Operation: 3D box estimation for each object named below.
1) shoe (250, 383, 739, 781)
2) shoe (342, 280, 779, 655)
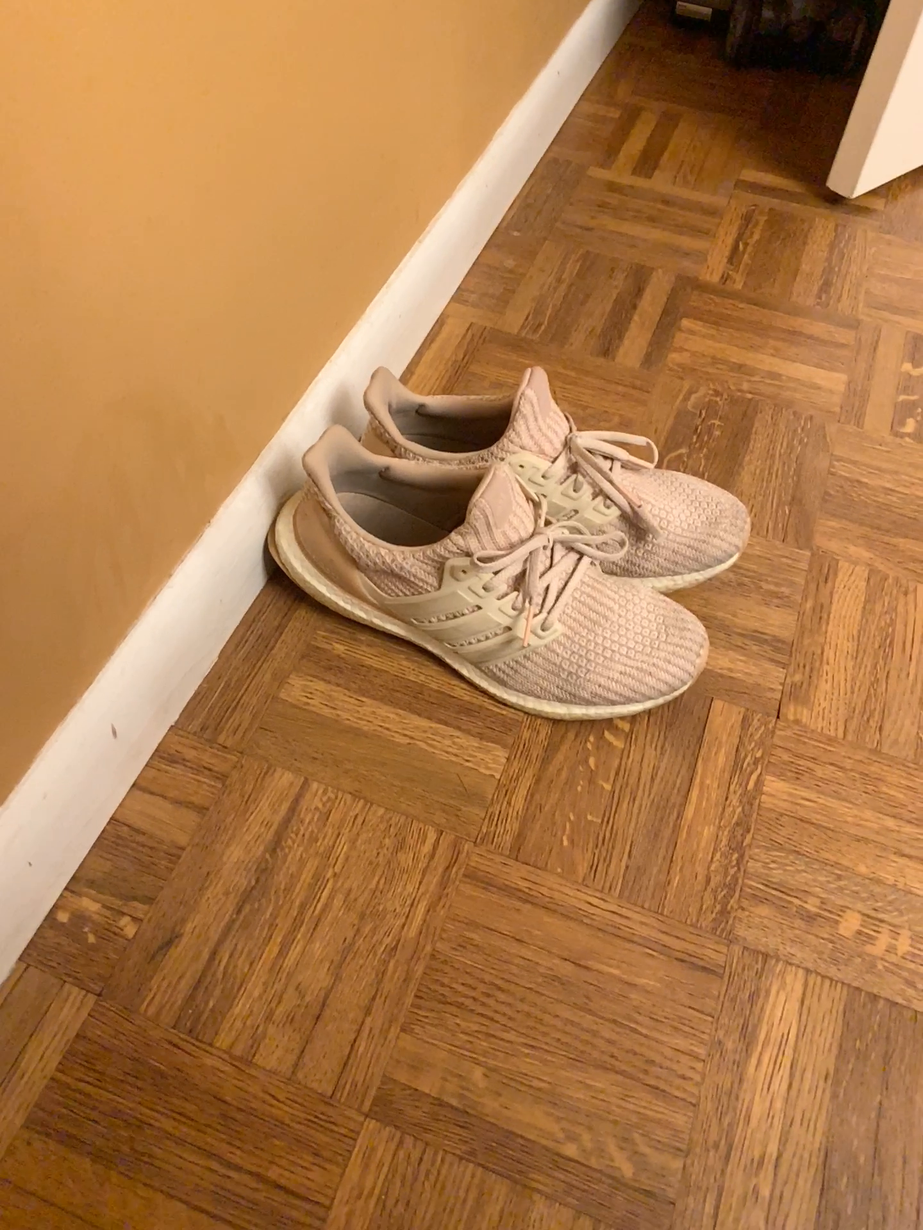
[{"bbox_3d":[0.014,-0.017,0.617,0.280,0.130,0.100,25,56,2],"label":"shoe"},{"bbox_3d":[0.066,-0.100,0.663,0.260,0.120,0.110,26,56,0],"label":"shoe"}]
